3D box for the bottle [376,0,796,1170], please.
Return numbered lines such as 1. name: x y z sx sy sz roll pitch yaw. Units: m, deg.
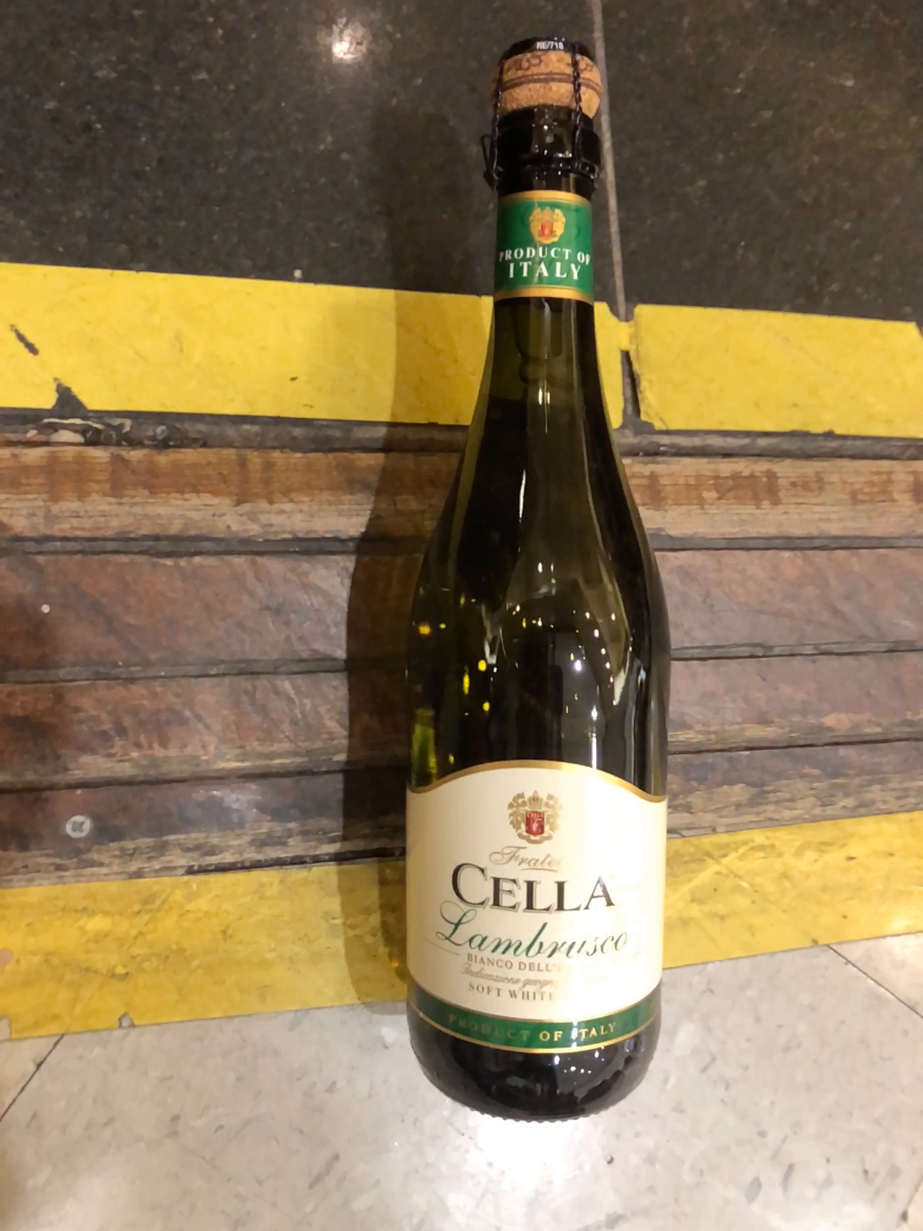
1. bottle: 0.028 -0.007 0.296 0.090 0.060 0.310 0 98 -14
